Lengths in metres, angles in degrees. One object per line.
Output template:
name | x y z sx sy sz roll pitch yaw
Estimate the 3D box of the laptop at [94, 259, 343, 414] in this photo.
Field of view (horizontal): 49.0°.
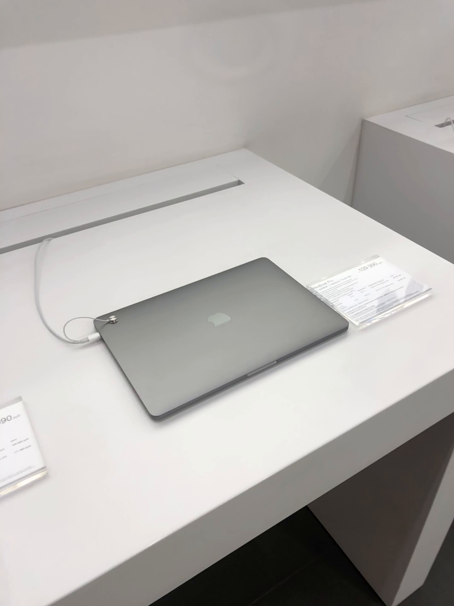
laptop | -0.014 0.028 0.702 0.293 0.001 0.199 -21 42 -24
